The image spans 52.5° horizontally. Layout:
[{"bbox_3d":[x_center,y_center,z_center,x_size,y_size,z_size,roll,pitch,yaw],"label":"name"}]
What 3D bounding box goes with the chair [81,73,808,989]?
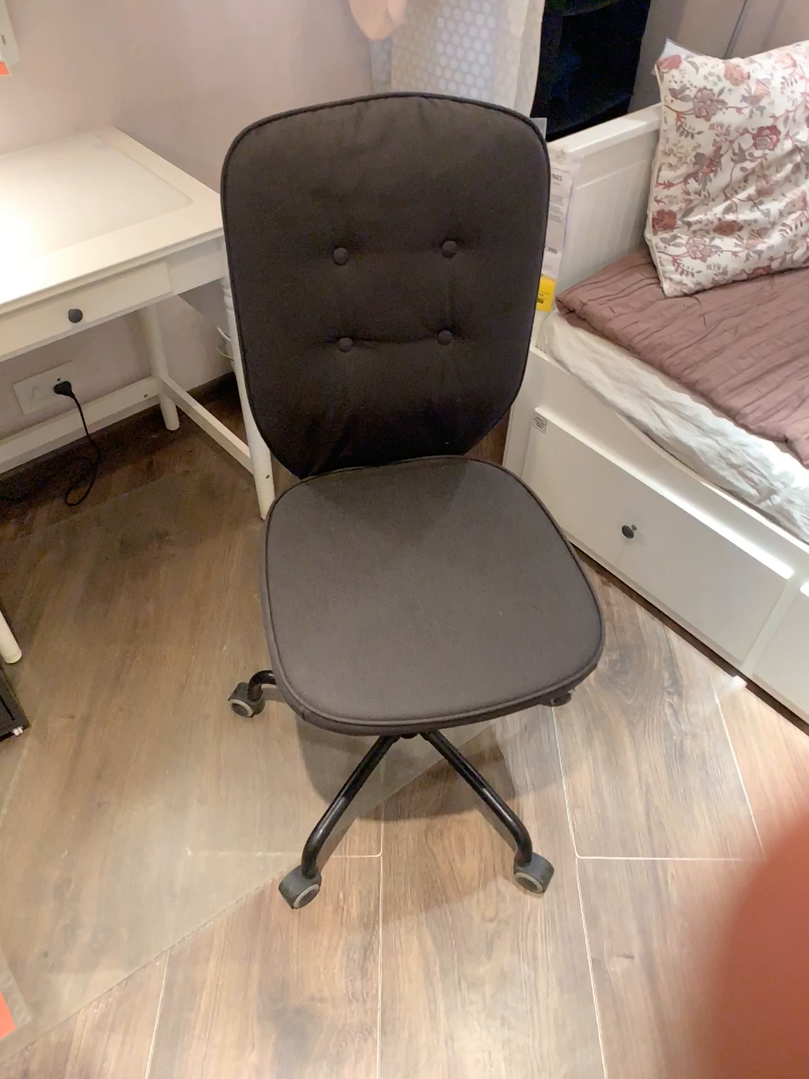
[{"bbox_3d":[0.024,0.012,1.158,0.650,0.947,0.732,-12,49,-13],"label":"chair"}]
